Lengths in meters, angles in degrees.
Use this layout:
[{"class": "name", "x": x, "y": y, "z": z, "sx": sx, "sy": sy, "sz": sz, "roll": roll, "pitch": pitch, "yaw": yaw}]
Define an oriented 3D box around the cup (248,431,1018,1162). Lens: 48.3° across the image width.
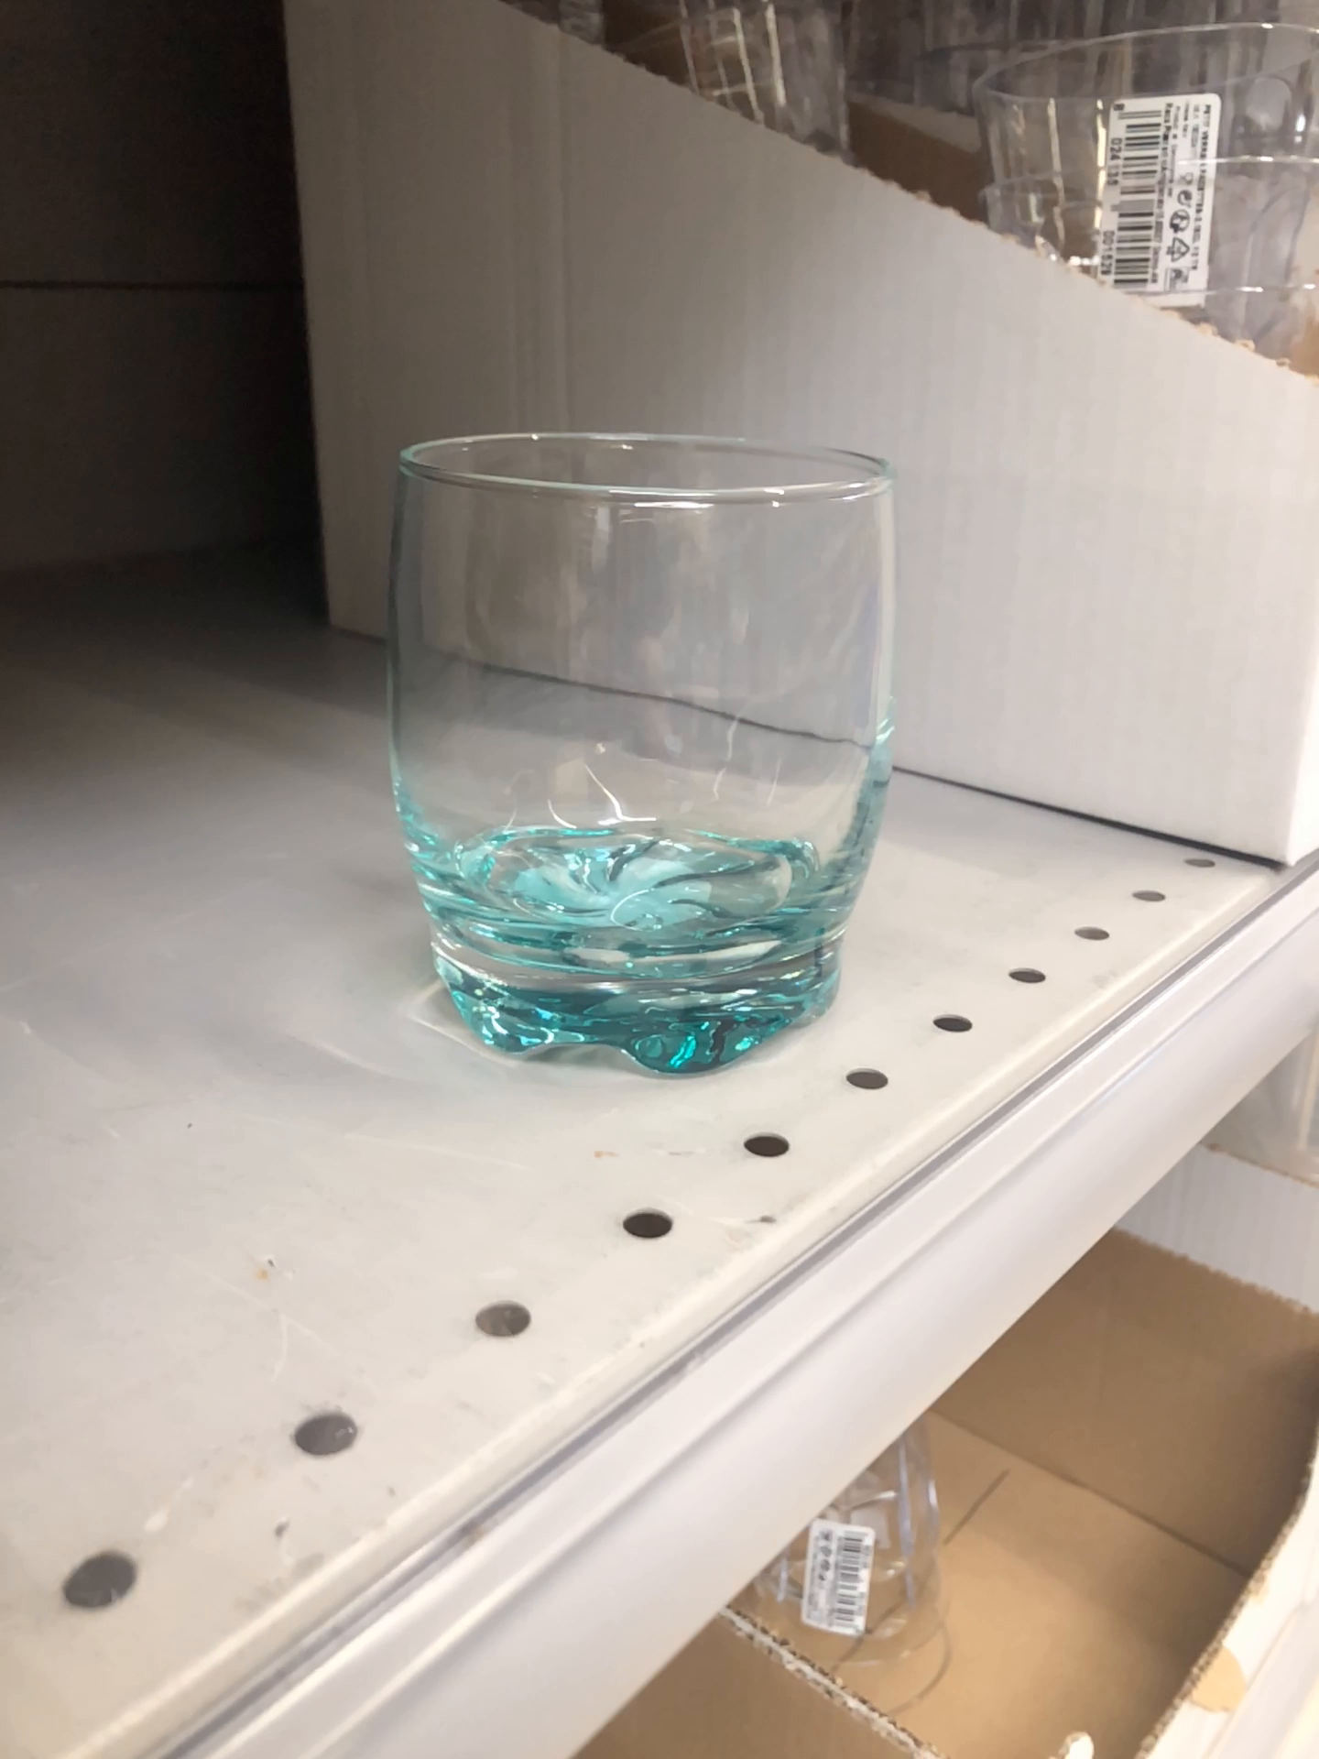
[{"class": "cup", "x": -0.005, "y": -0.022, "z": 0.226, "sx": 0.083, "sy": 0.082, "sz": 0.074, "roll": -17, "pitch": 28, "yaw": -40}]
